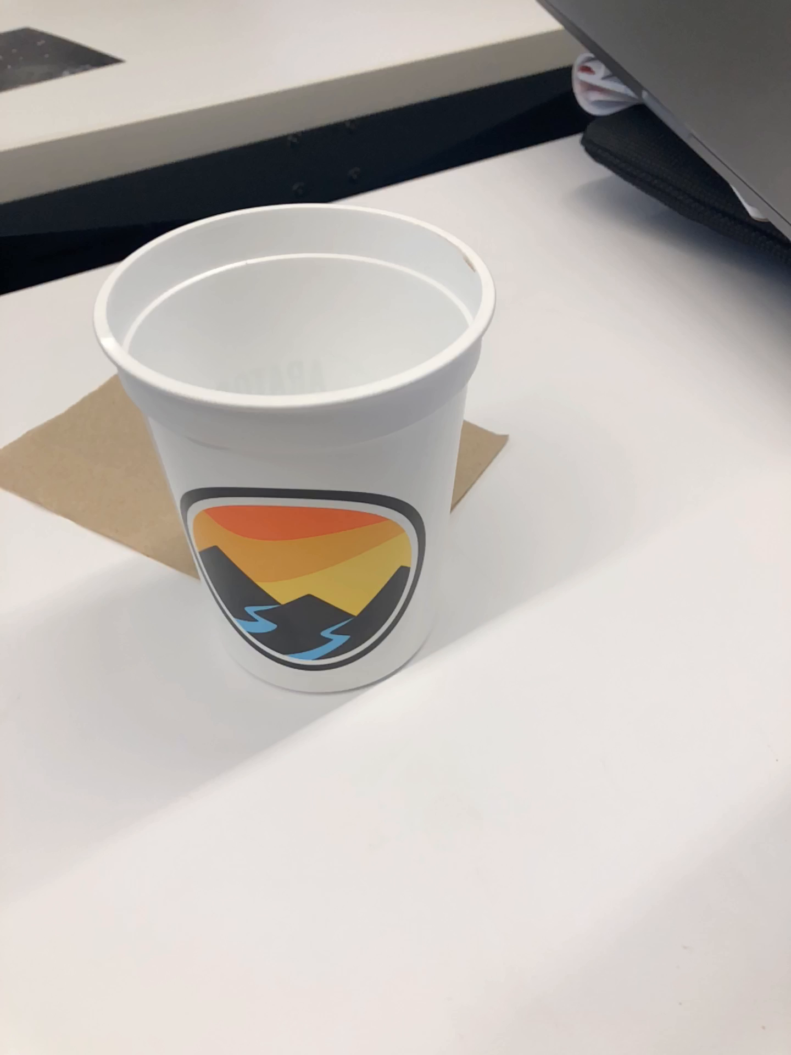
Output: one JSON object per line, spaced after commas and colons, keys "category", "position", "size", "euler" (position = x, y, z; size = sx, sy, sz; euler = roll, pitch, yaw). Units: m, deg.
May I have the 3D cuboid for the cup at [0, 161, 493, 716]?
{"category": "cup", "position": [-0.024, -0.023, 0.220], "size": [0.090, 0.100, 0.090], "euler": [-1, 41, 1]}
